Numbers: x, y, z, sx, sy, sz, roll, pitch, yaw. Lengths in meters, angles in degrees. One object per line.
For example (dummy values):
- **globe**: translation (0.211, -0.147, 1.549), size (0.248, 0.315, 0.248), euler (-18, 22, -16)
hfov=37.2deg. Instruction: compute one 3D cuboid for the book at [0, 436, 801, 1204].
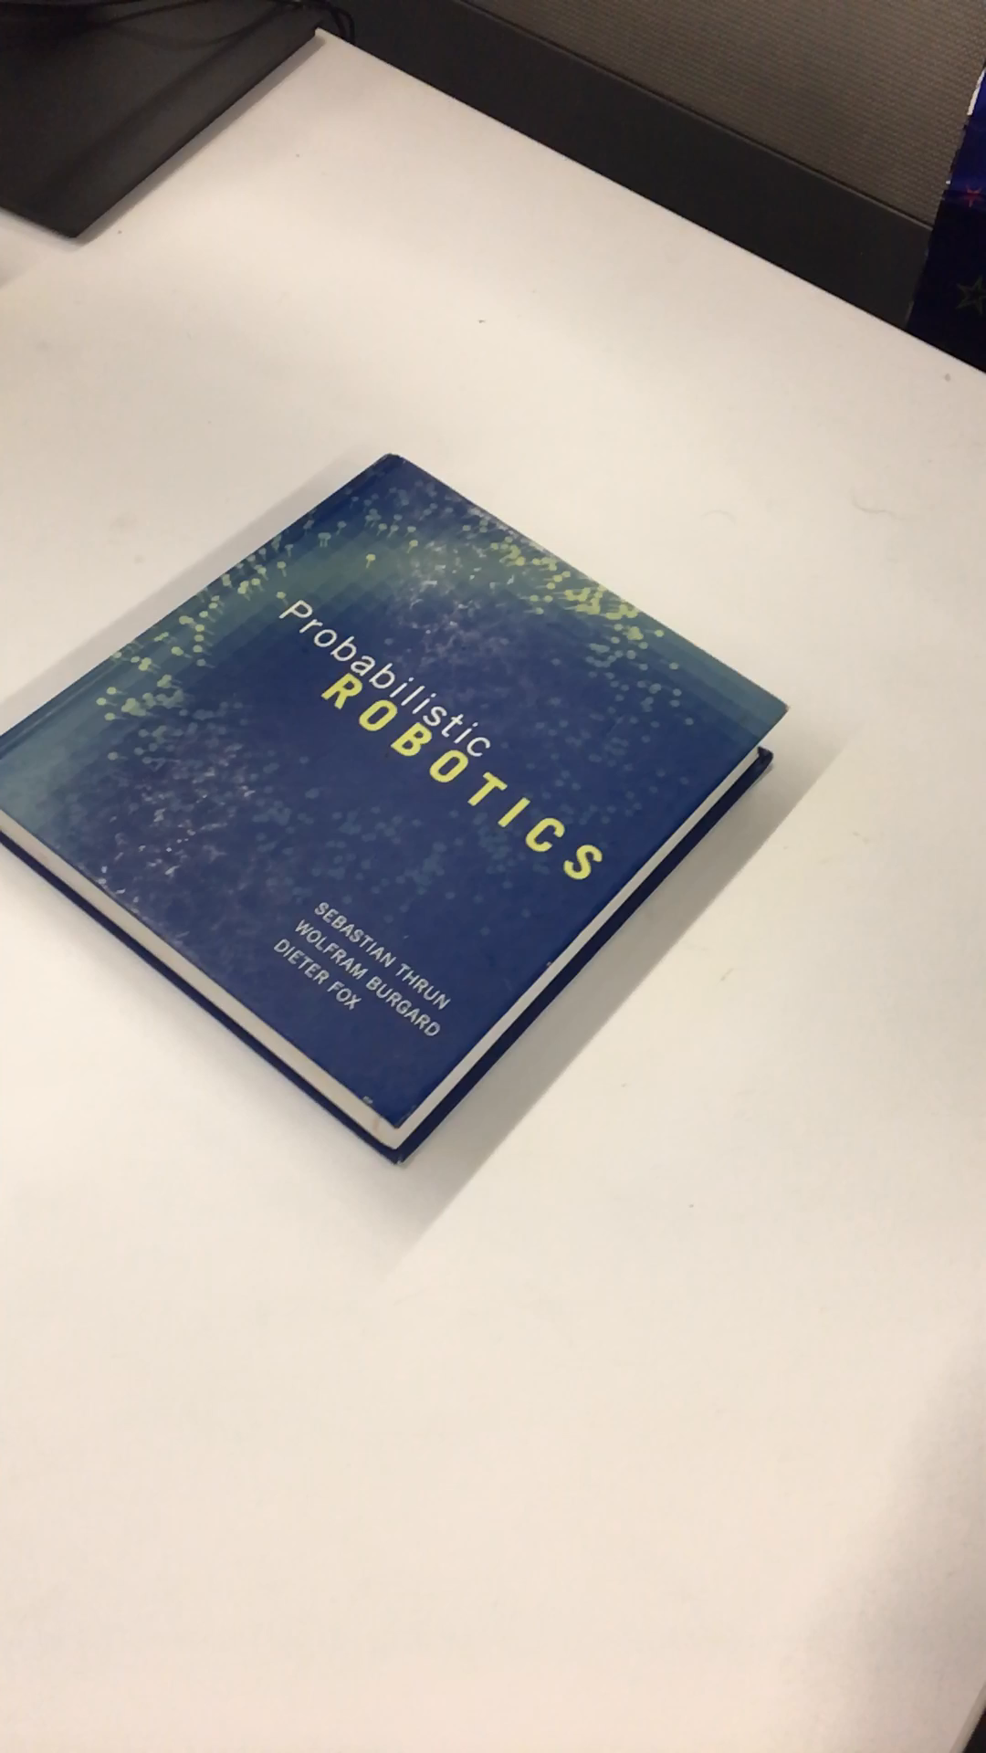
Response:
- **book**: translation (-0.044, -0.040, 0.546), size (0.220, 0.030, 0.240), euler (36, 62, 16)
